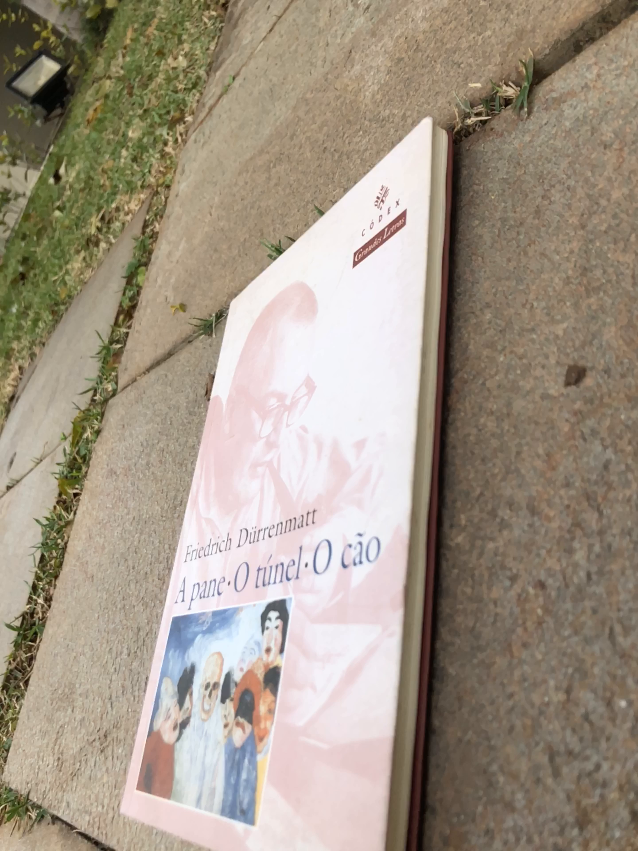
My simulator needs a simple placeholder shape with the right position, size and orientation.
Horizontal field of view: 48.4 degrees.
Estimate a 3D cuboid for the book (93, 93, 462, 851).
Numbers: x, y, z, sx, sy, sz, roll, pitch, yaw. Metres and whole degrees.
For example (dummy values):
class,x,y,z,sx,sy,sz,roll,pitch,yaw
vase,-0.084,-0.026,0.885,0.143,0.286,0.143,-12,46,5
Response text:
class,x,y,z,sx,sy,sz,roll,pitch,yaw
book,-0.015,0.018,0.218,0.141,0.015,0.200,-26,49,51
